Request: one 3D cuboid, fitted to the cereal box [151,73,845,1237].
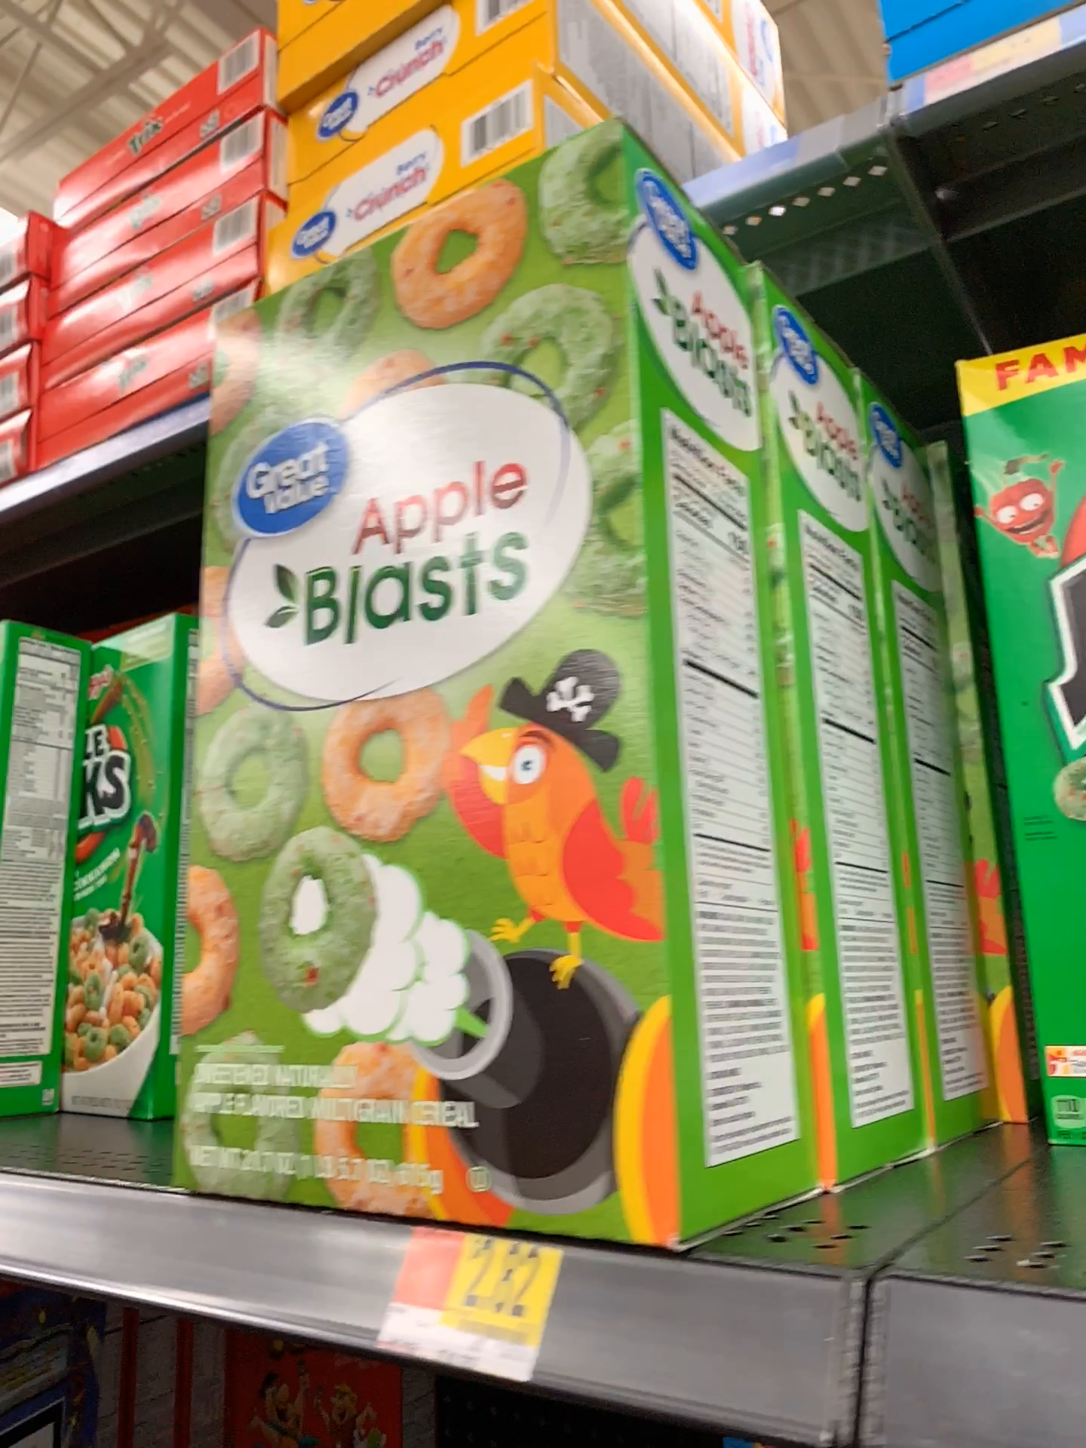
[{"bbox_3d":[-0.021,-0.016,0.399,0.200,0.331,0.100,-10,-17,32],"label":"cereal box"}]
